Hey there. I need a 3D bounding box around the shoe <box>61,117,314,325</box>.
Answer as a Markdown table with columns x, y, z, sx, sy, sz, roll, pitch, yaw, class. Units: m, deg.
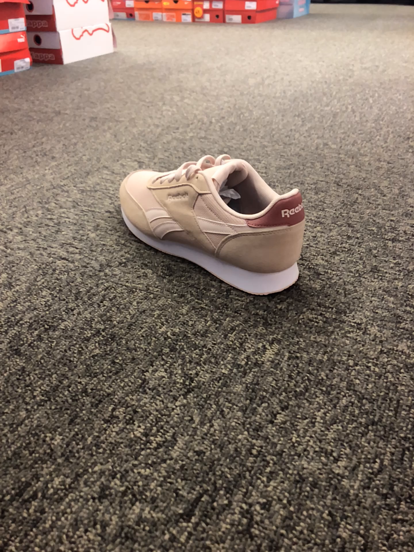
| x | y | z | sx | sy | sz | roll | pitch | yaw | class |
| --- | --- | --- | --- | --- | --- | --- | --- | --- | --- |
| -0.034 | -0.077 | 0.479 | 0.100 | 0.109 | 0.270 | -27 | 41 | -33 | shoe |
